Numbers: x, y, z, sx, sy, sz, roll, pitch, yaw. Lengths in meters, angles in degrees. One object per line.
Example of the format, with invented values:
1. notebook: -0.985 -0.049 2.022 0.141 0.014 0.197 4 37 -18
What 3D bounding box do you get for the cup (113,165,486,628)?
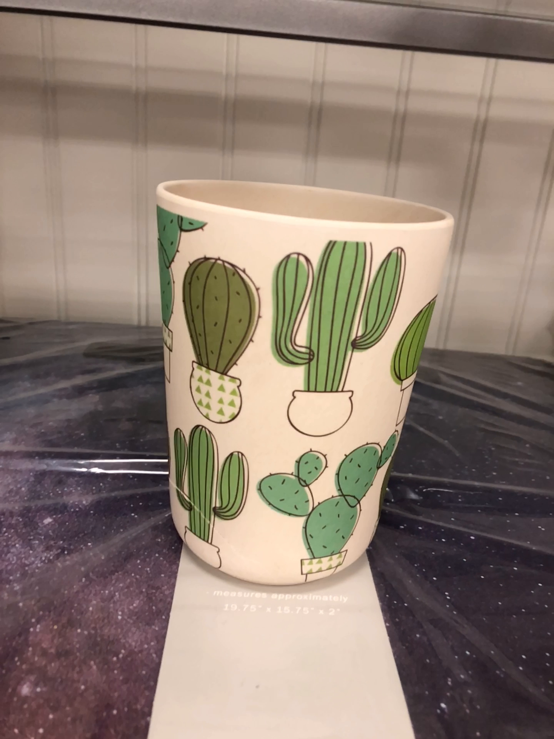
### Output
1. cup: 0.009 0.000 0.226 0.100 0.129 0.091 9 22 11
